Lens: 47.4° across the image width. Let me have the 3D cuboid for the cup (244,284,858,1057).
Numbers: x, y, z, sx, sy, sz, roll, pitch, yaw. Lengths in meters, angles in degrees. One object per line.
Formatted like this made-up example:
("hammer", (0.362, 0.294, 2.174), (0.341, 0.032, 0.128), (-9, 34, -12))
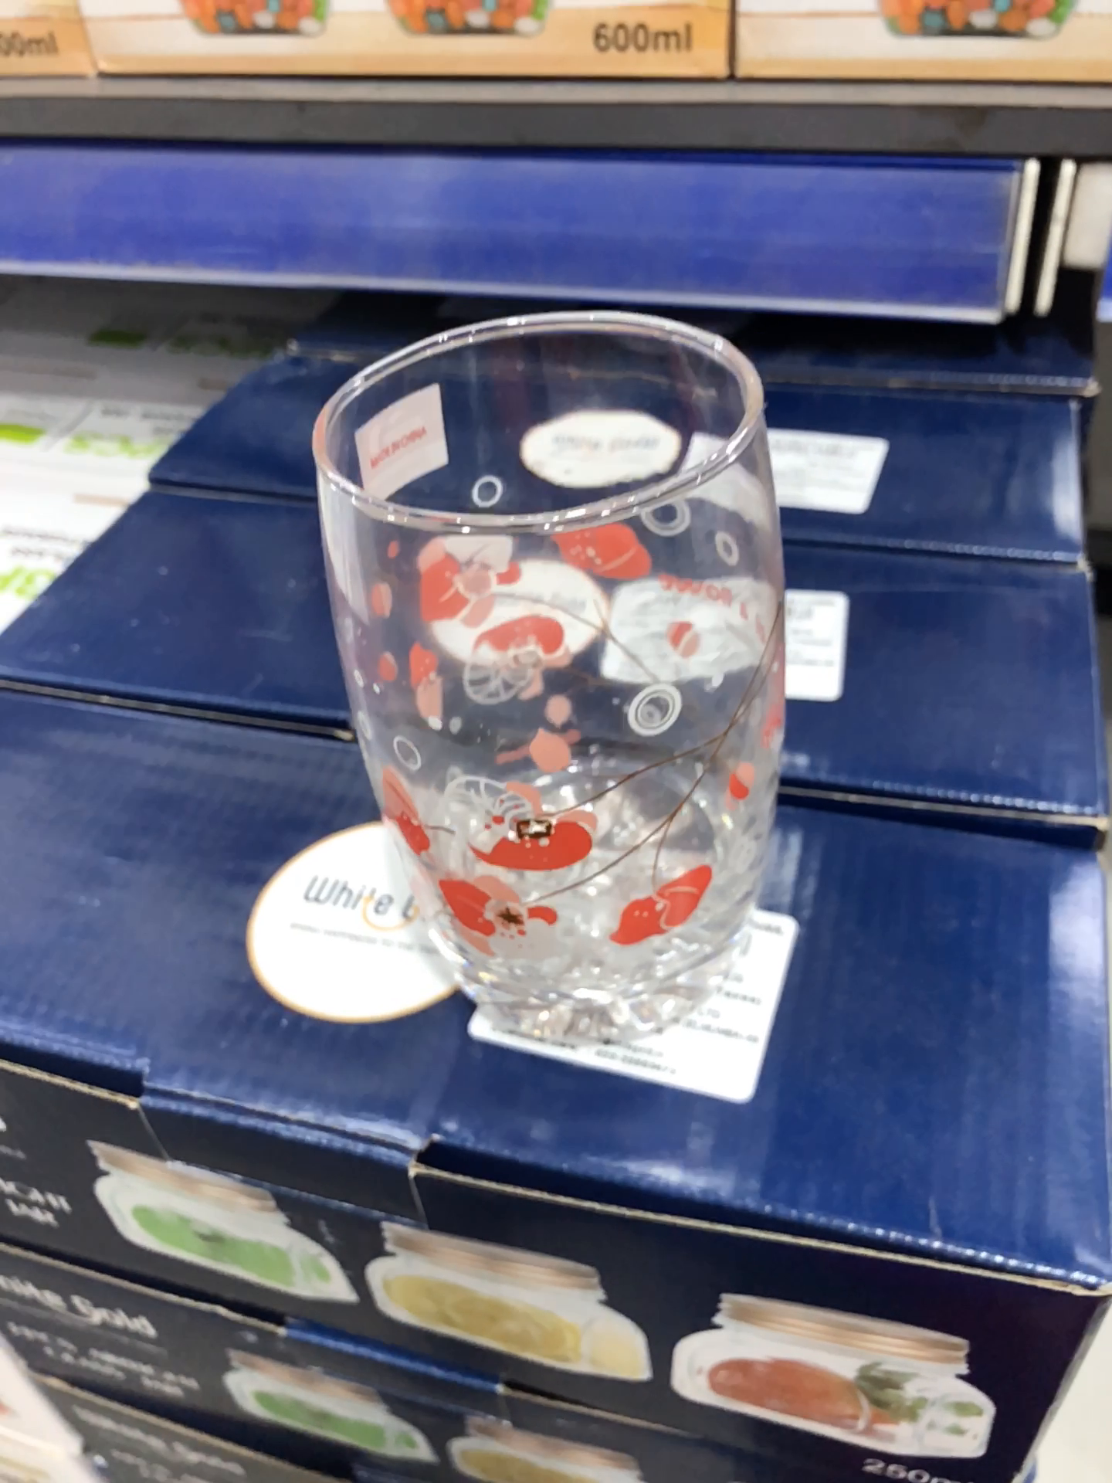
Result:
("cup", (0.004, -0.009, 0.203), (0.070, 0.099, 0.070), (-3, 42, 3))
